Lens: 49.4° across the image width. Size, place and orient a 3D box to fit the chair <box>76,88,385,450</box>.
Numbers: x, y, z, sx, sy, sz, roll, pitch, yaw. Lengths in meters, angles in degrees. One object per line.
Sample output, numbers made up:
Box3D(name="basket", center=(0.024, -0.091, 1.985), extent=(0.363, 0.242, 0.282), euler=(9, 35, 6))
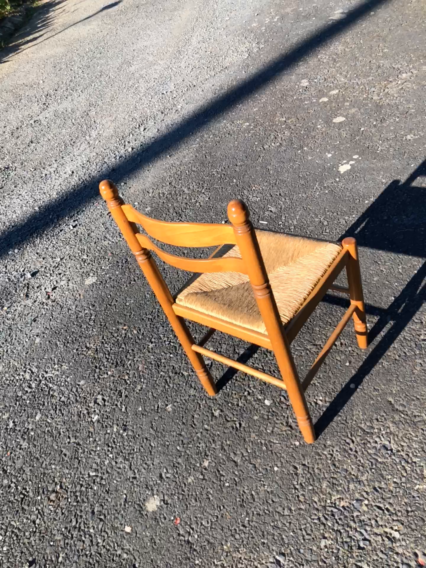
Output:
Box3D(name="chair", center=(0.129, -0.040, 1.289), extent=(0.490, 0.796, 0.492), euler=(17, 54, 35))
